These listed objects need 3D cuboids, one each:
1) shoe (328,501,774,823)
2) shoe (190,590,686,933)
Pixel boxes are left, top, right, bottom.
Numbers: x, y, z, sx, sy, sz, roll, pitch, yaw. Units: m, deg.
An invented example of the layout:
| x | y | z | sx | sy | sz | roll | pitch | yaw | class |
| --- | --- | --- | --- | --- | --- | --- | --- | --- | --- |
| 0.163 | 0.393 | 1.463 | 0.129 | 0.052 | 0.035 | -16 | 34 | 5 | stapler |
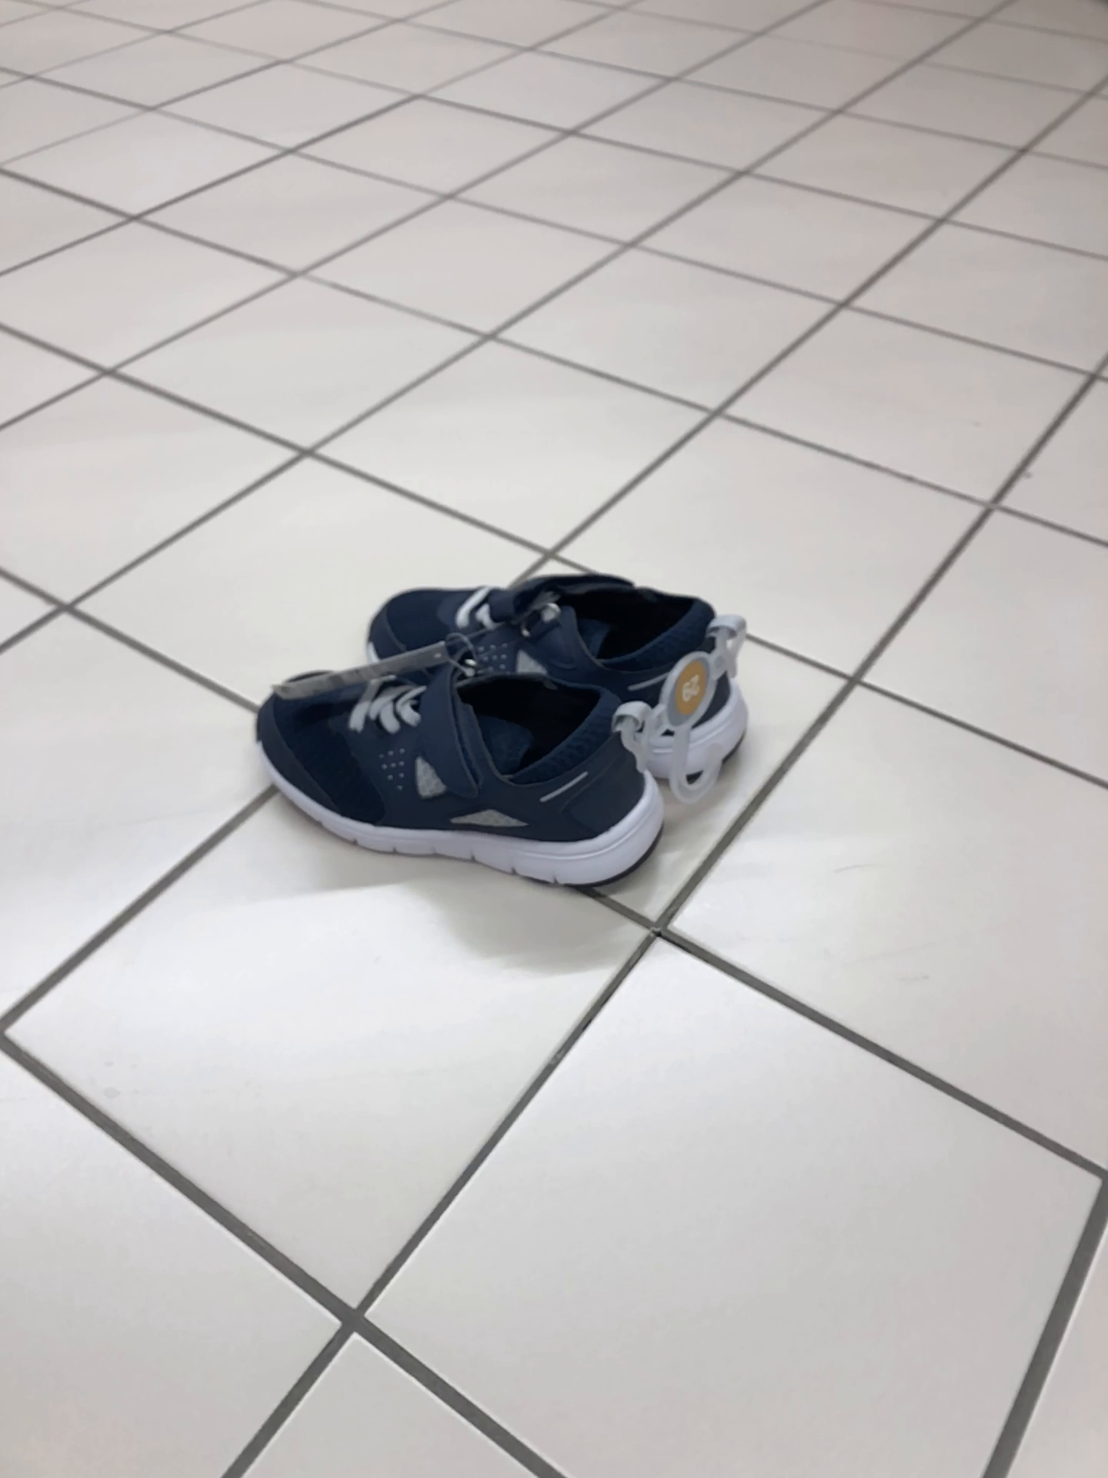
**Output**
| x | y | z | sx | sy | sz | roll | pitch | yaw | class |
| --- | --- | --- | --- | --- | --- | --- | --- | --- | --- |
| -0.001 | -0.042 | 0.611 | 0.195 | 0.084 | 0.084 | 15 | 46 | 15 | shoe |
| -0.049 | 0.007 | 0.556 | 0.198 | 0.080 | 0.081 | 13 | 46 | 14 | shoe |
